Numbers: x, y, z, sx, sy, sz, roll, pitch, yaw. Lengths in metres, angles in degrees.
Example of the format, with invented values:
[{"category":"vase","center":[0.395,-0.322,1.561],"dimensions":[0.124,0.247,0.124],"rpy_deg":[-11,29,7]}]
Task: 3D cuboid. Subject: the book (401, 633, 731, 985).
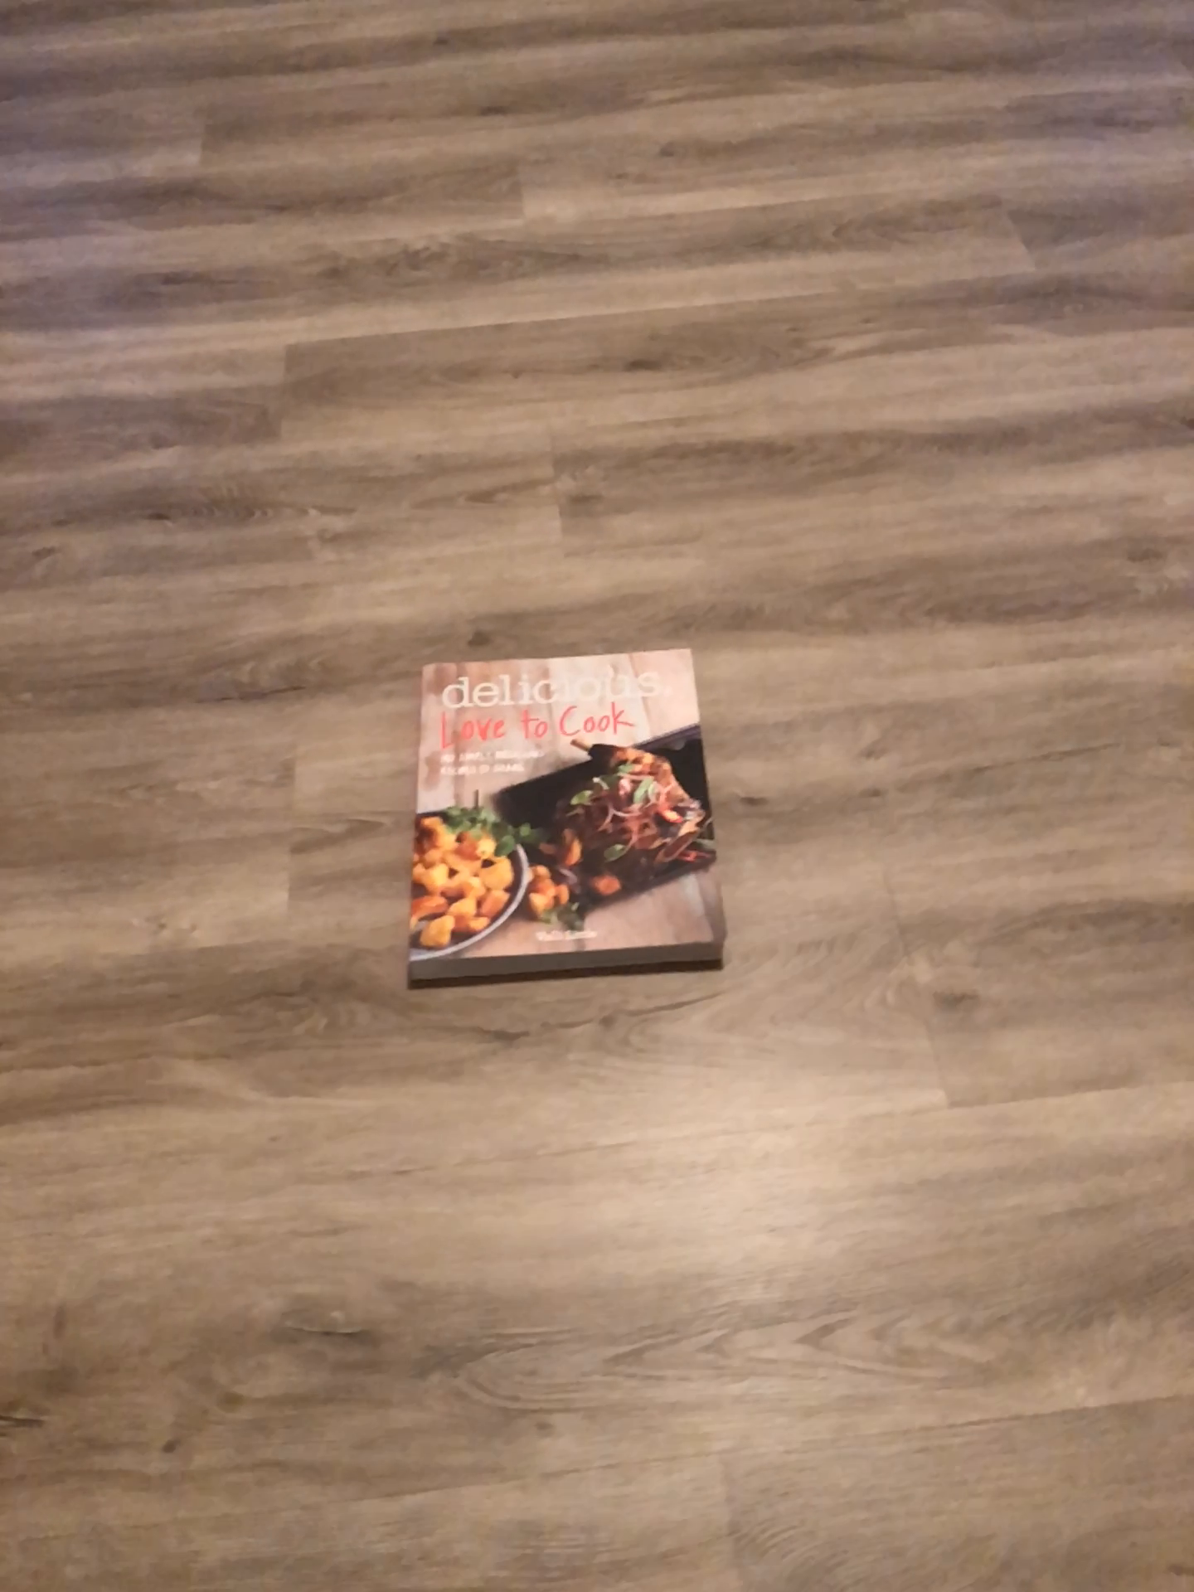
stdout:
[{"category":"book","center":[-0.026,0.000,0.984],"dimensions":[0.221,0.030,0.291],"rpy_deg":[-3,53,1]}]
